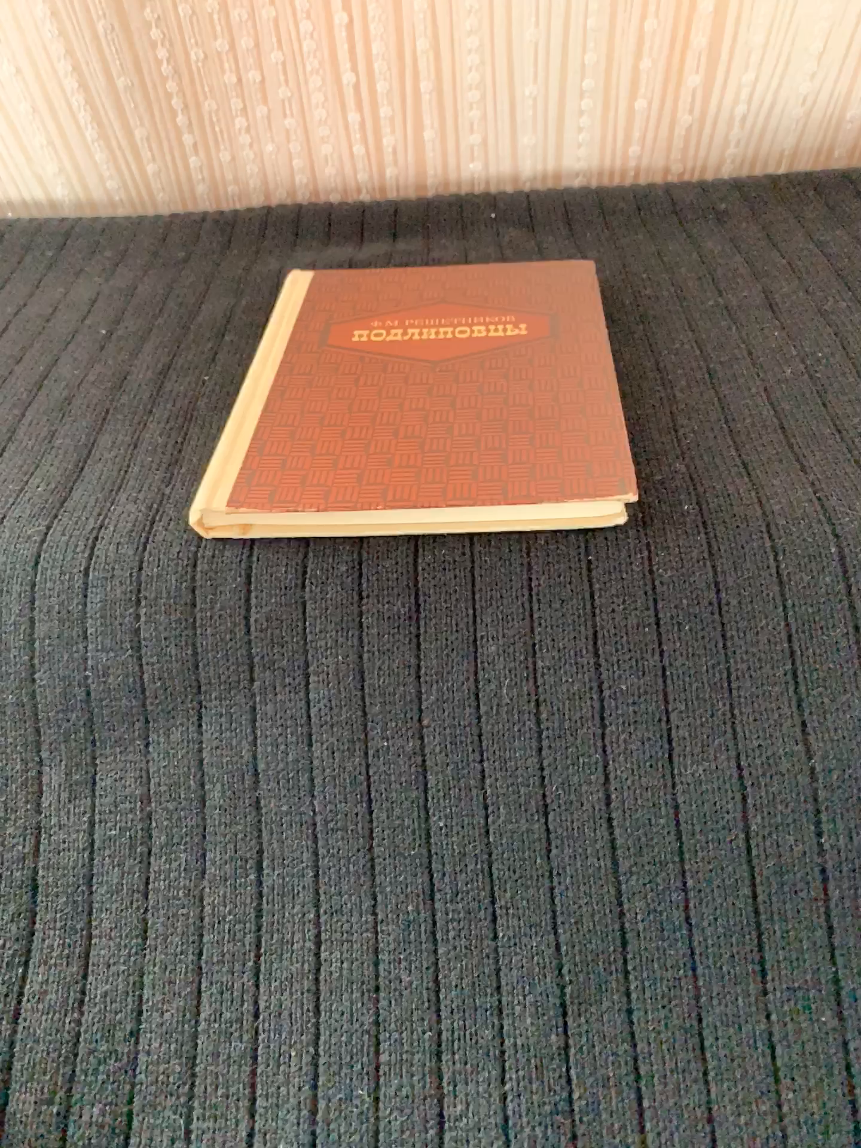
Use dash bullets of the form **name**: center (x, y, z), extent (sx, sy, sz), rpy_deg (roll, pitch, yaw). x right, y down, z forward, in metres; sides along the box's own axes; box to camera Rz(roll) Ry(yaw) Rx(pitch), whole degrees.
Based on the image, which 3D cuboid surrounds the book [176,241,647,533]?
- **book**: center (-0.002, -0.076, 0.317), extent (0.129, 0.015, 0.178), rpy_deg (-1, 40, 4)
